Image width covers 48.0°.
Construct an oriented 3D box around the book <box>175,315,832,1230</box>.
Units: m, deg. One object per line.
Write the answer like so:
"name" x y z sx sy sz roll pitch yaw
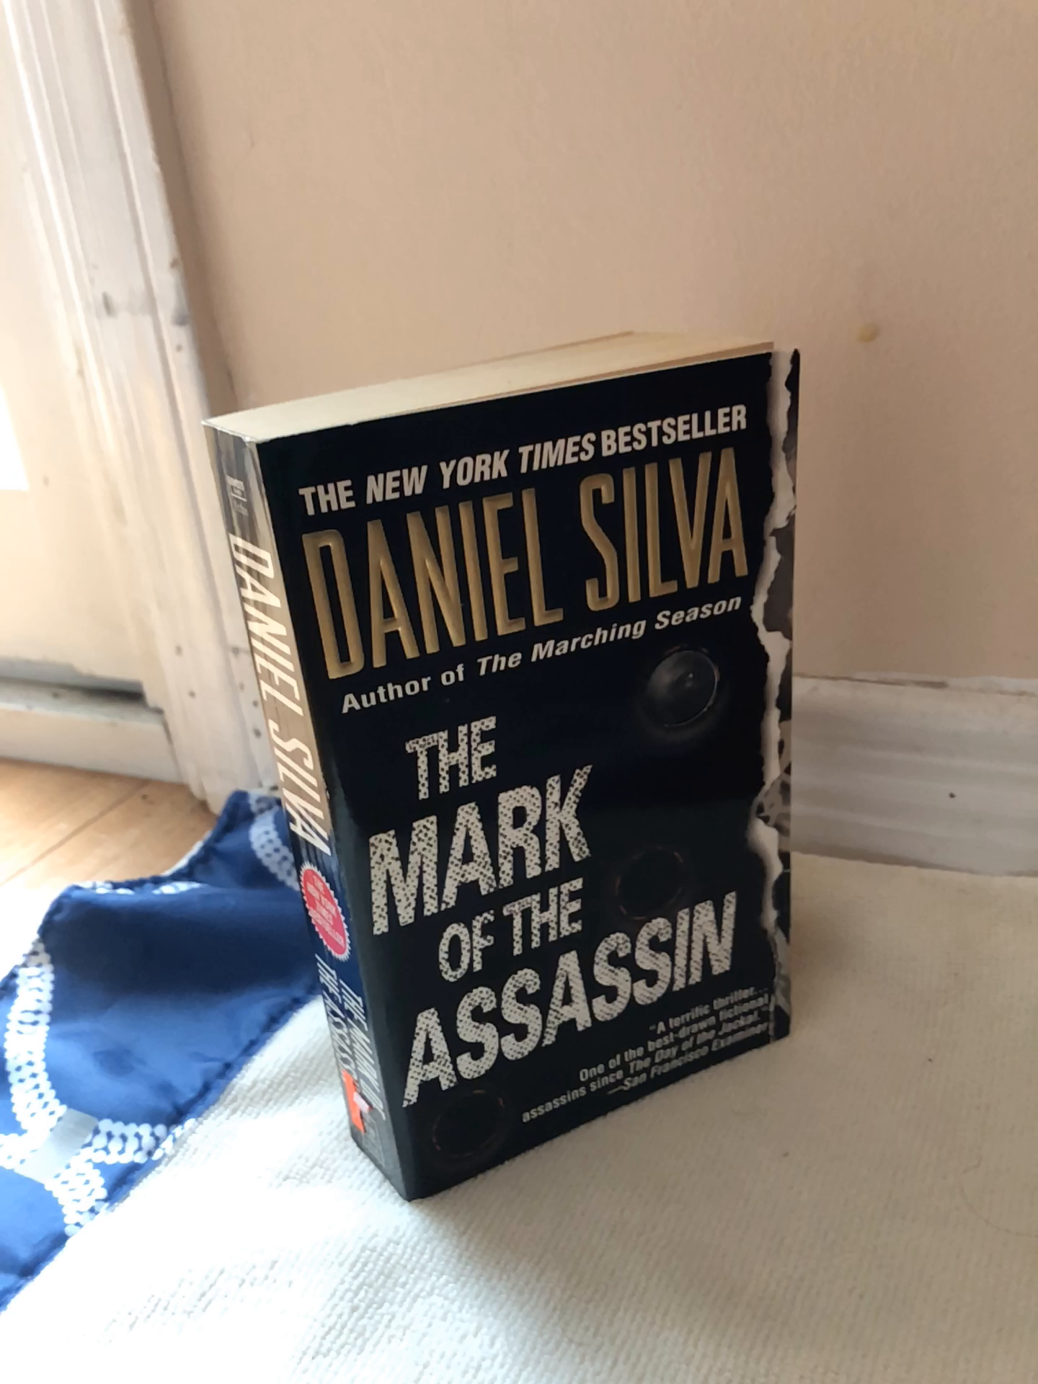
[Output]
"book" 0.007 0.014 0.259 0.119 0.169 0.045 -17 24 -23
